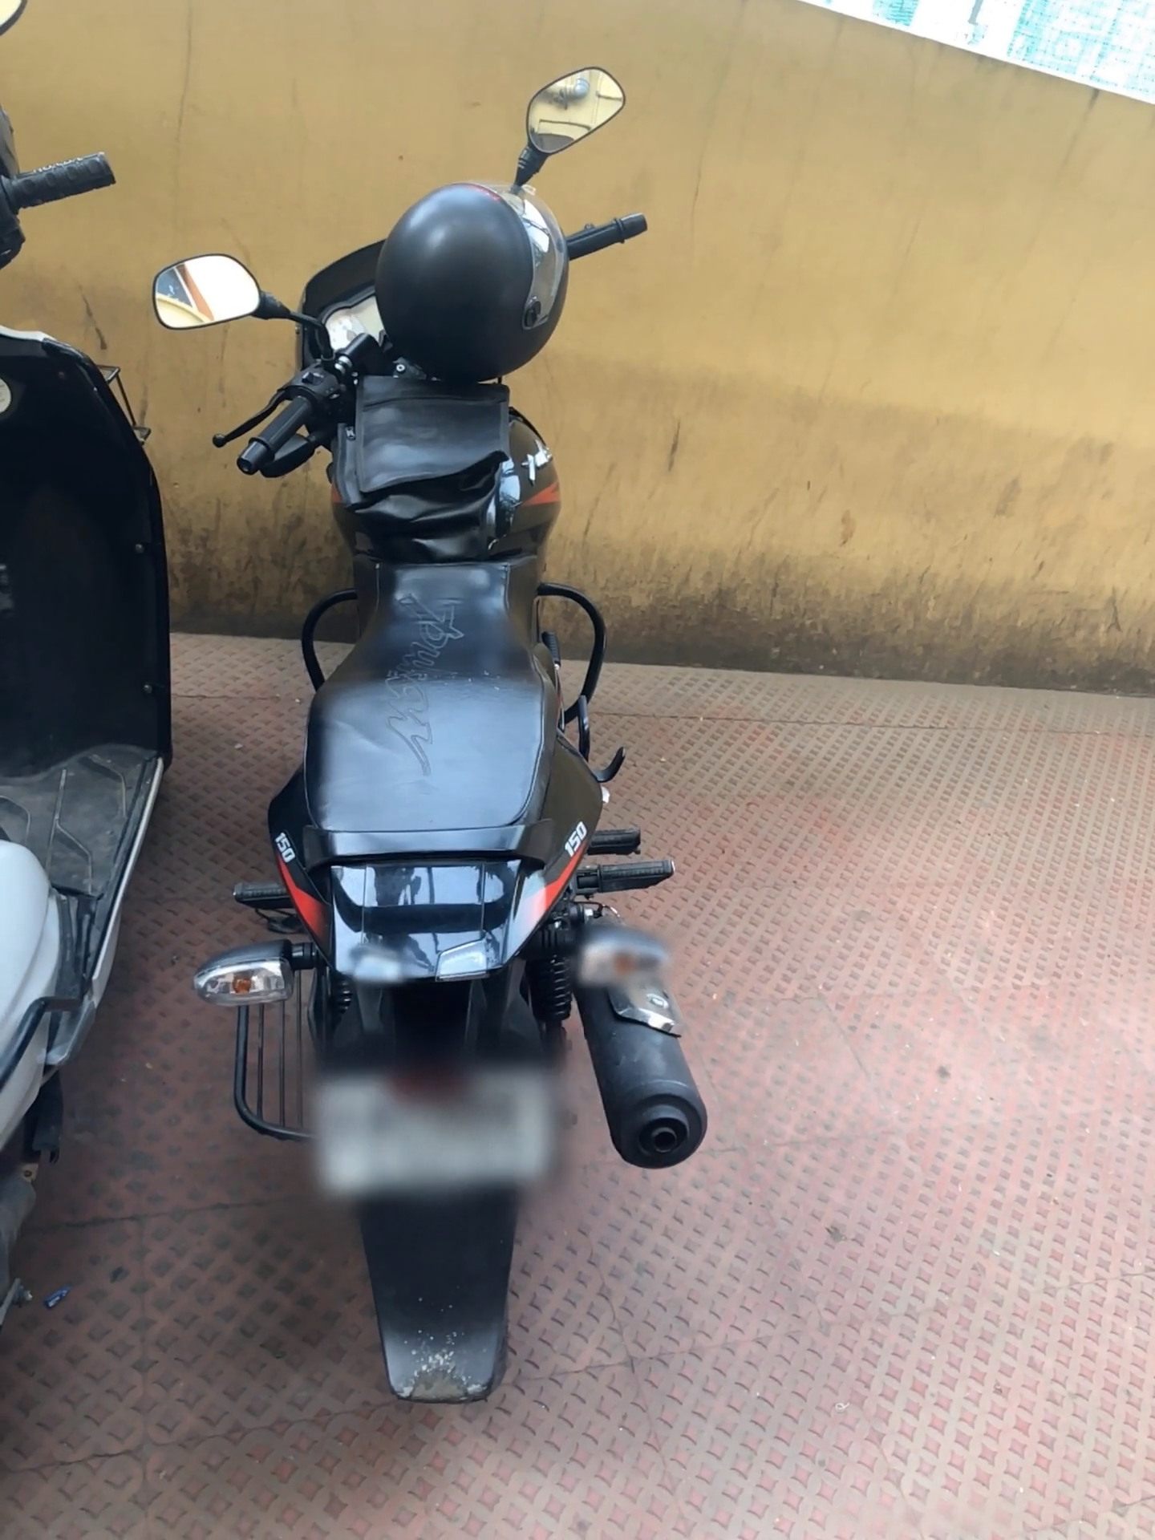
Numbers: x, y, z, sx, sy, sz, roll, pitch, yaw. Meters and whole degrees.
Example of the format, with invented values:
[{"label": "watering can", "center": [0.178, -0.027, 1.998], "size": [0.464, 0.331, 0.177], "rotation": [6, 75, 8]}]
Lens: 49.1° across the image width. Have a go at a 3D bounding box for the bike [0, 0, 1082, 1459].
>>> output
[{"label": "bike", "center": [-0.342, -0.190, 1.706], "size": [0.827, 1.057, 1.611], "rotation": [4, 37, -19]}]
